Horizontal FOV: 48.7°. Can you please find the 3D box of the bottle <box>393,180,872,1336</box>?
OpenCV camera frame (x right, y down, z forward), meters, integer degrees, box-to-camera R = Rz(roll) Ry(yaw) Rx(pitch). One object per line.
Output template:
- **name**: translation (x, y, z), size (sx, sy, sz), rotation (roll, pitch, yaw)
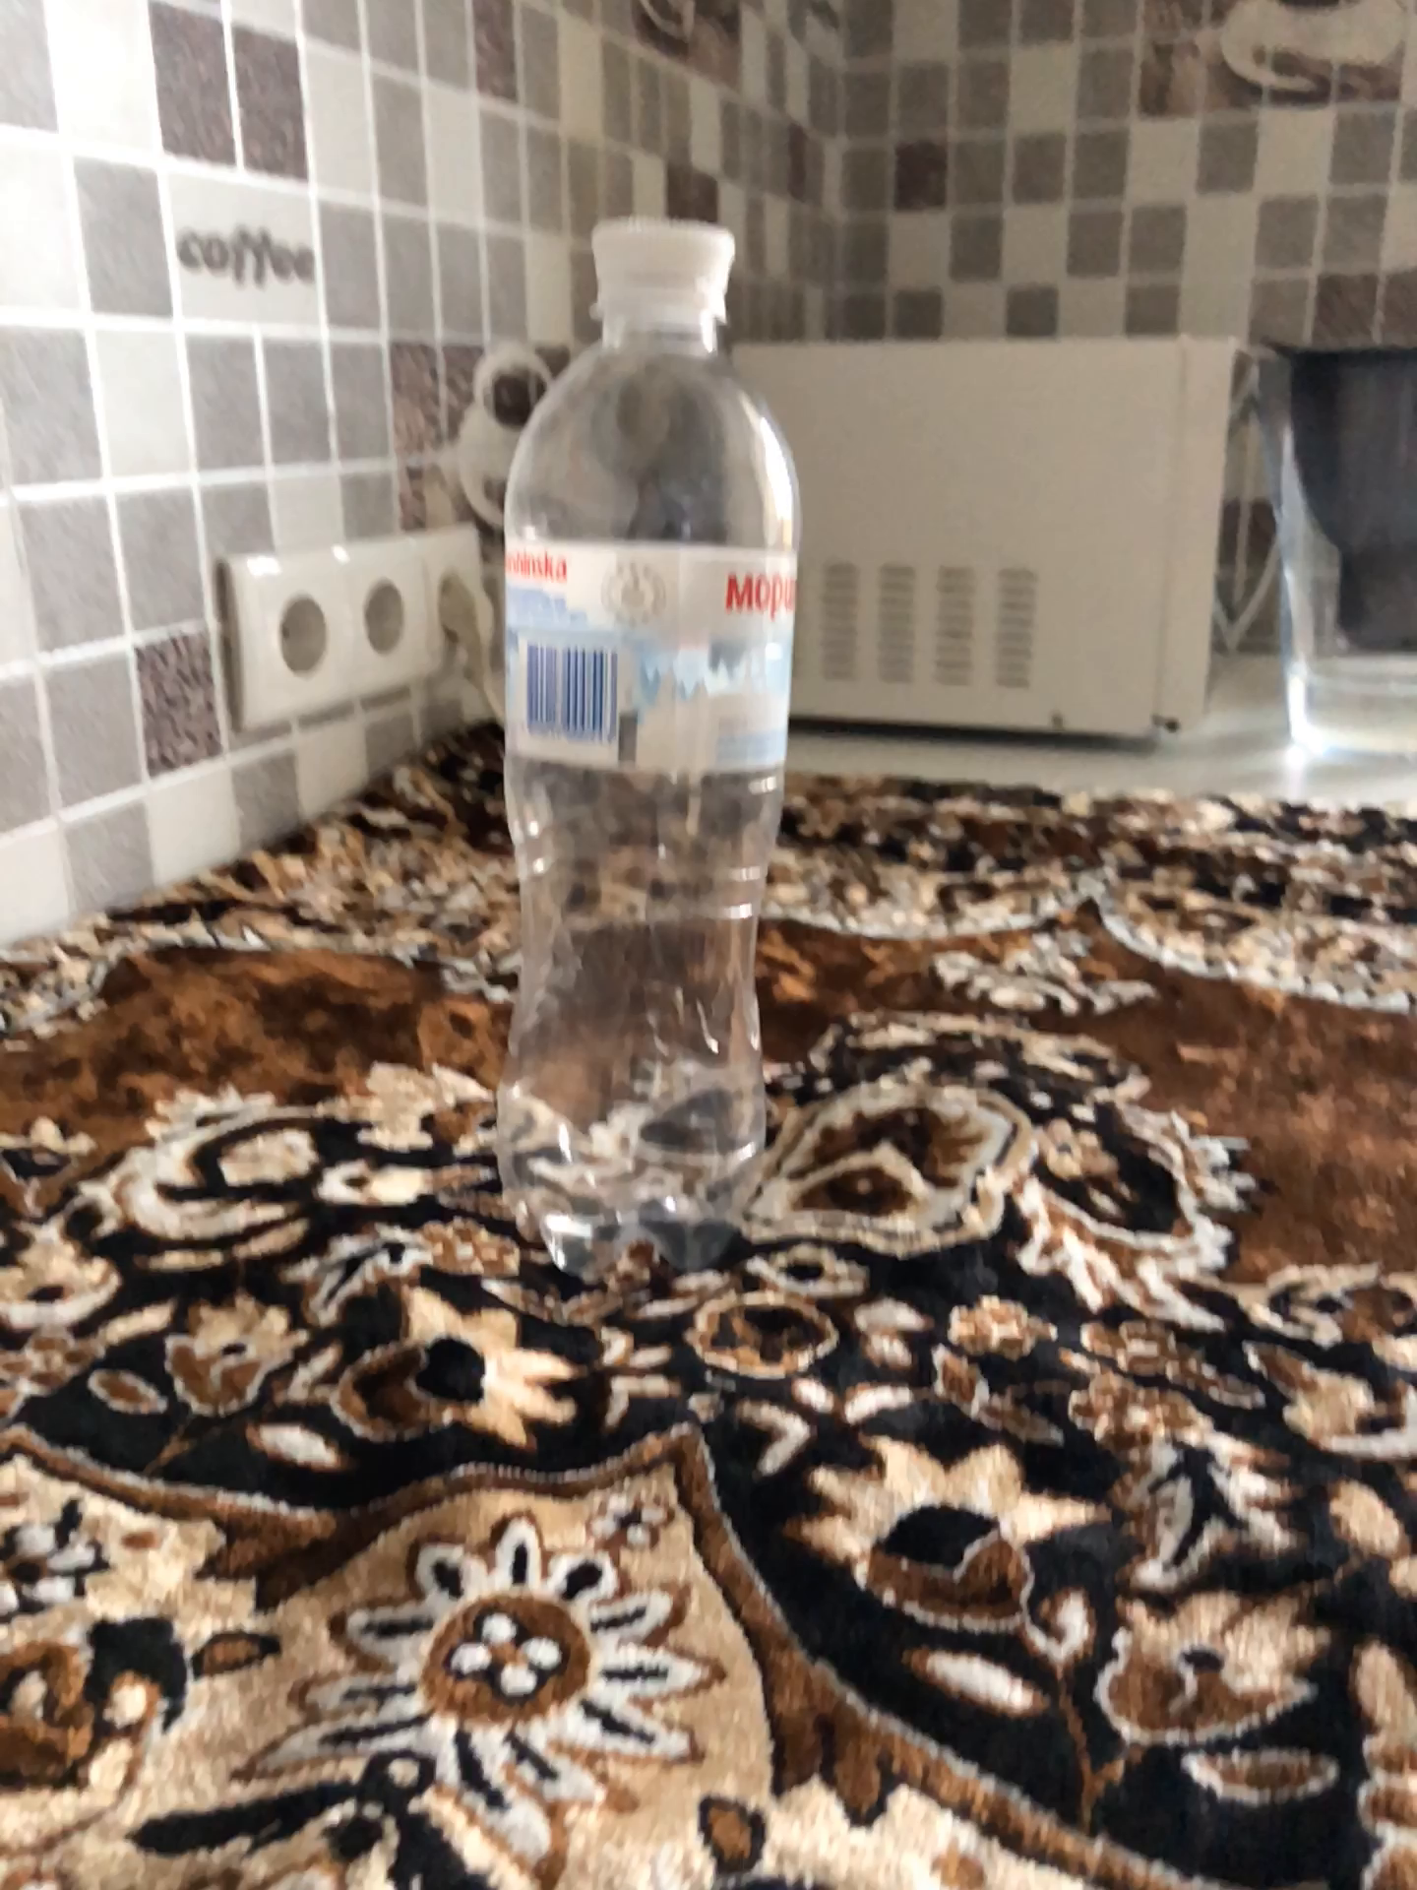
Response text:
- **bottle**: translation (-0.017, -0.044, 0.388), size (0.080, 0.249, 0.090), rotation (7, 17, 18)
